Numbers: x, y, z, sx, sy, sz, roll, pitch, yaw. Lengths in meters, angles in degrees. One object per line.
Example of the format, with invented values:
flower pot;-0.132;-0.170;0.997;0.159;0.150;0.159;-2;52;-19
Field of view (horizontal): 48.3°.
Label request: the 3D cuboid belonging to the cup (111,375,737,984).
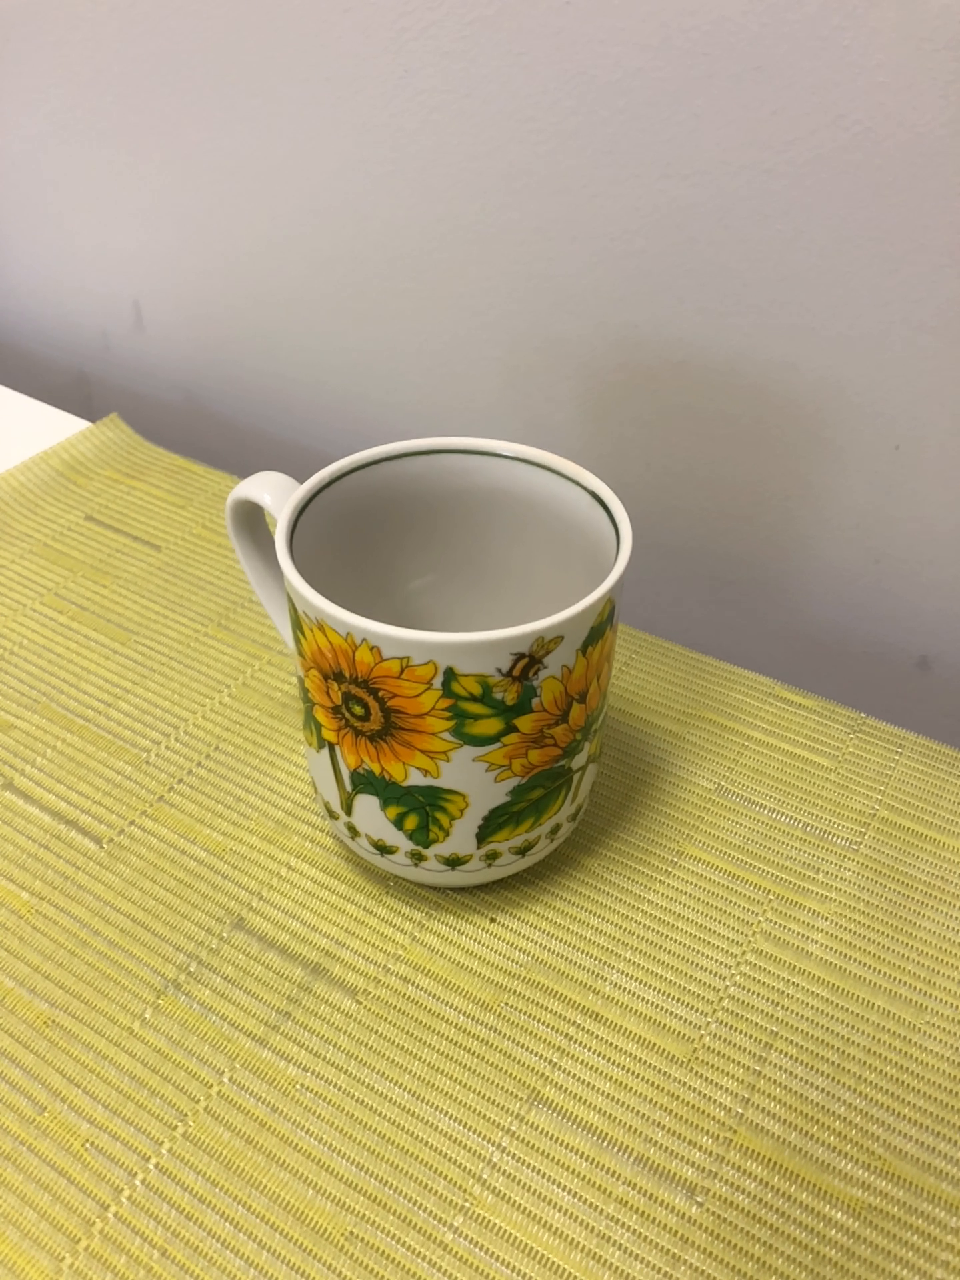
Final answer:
cup;-0.014;0.002;0.275;0.116;0.084;0.088;26;44;27
